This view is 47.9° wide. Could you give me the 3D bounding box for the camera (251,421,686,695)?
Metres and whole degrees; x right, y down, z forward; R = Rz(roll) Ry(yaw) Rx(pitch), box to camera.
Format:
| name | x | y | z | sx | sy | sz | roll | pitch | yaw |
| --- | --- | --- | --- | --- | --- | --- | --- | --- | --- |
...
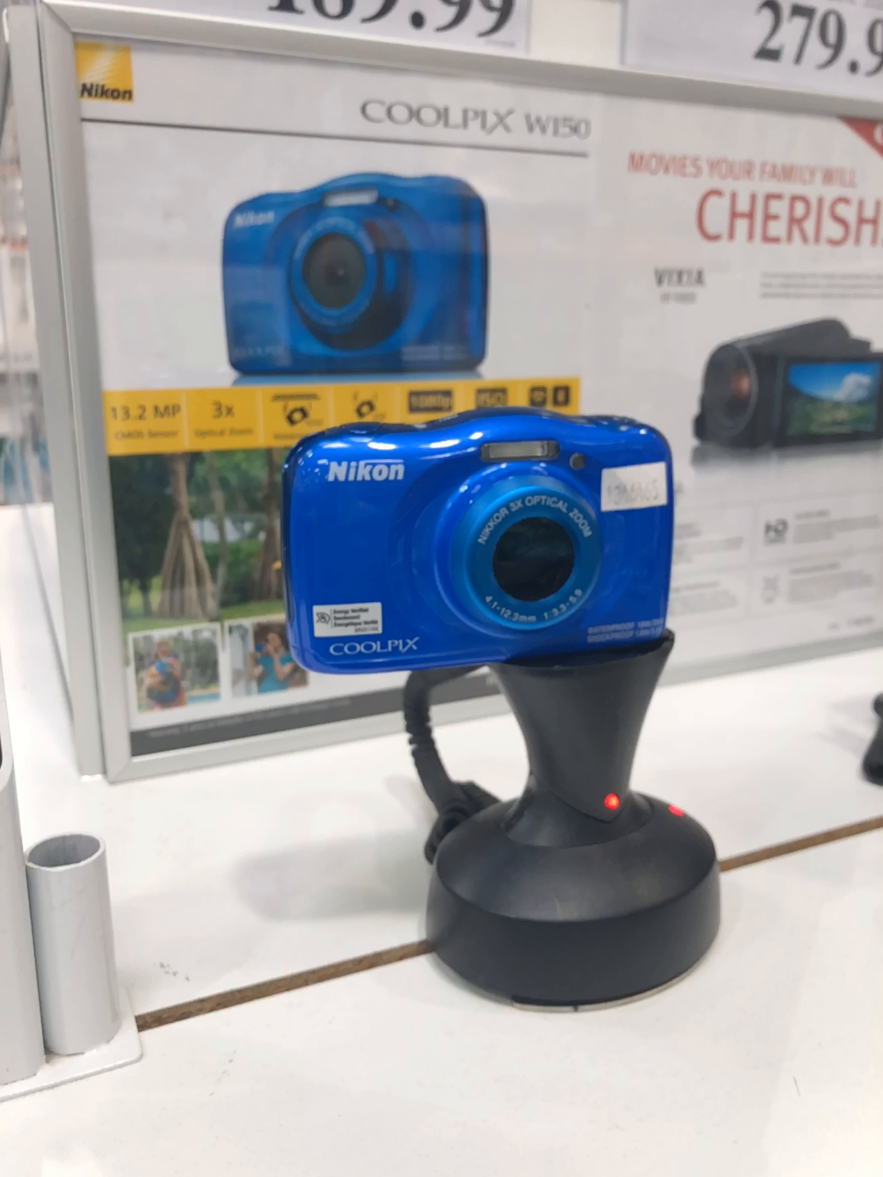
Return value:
| name | x | y | z | sx | sy | sz | roll | pitch | yaw |
| --- | --- | --- | --- | --- | --- | --- | --- | --- | --- |
| camera | 0.007 | -0.012 | 0.275 | 0.110 | 0.060 | 0.040 | -6 | 15 | -20 |
